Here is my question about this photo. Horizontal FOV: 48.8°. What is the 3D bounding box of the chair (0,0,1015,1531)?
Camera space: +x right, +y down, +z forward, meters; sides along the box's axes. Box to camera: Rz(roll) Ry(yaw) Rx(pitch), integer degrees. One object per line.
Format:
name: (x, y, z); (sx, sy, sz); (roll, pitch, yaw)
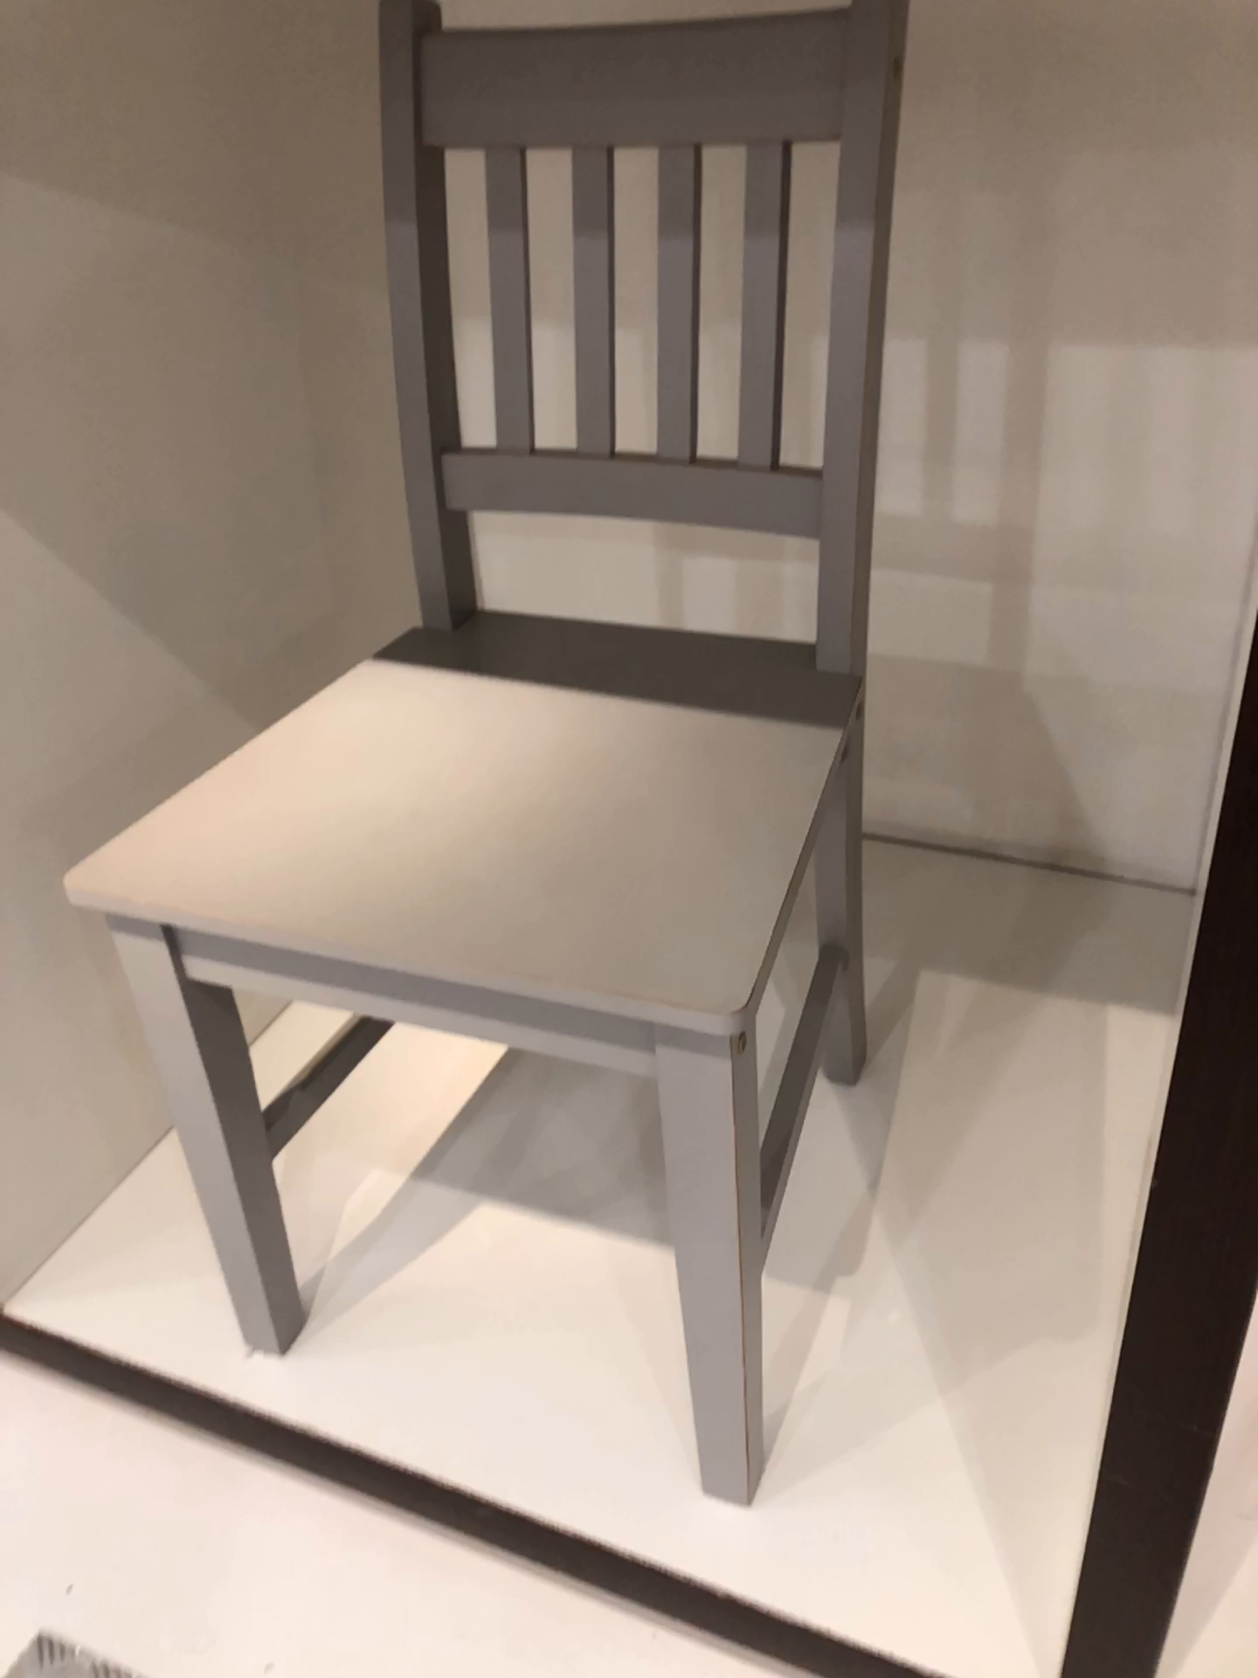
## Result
chair: (-0.047, -0.106, 0.962); (0.460, 0.863, 0.584); (9, 35, 20)
